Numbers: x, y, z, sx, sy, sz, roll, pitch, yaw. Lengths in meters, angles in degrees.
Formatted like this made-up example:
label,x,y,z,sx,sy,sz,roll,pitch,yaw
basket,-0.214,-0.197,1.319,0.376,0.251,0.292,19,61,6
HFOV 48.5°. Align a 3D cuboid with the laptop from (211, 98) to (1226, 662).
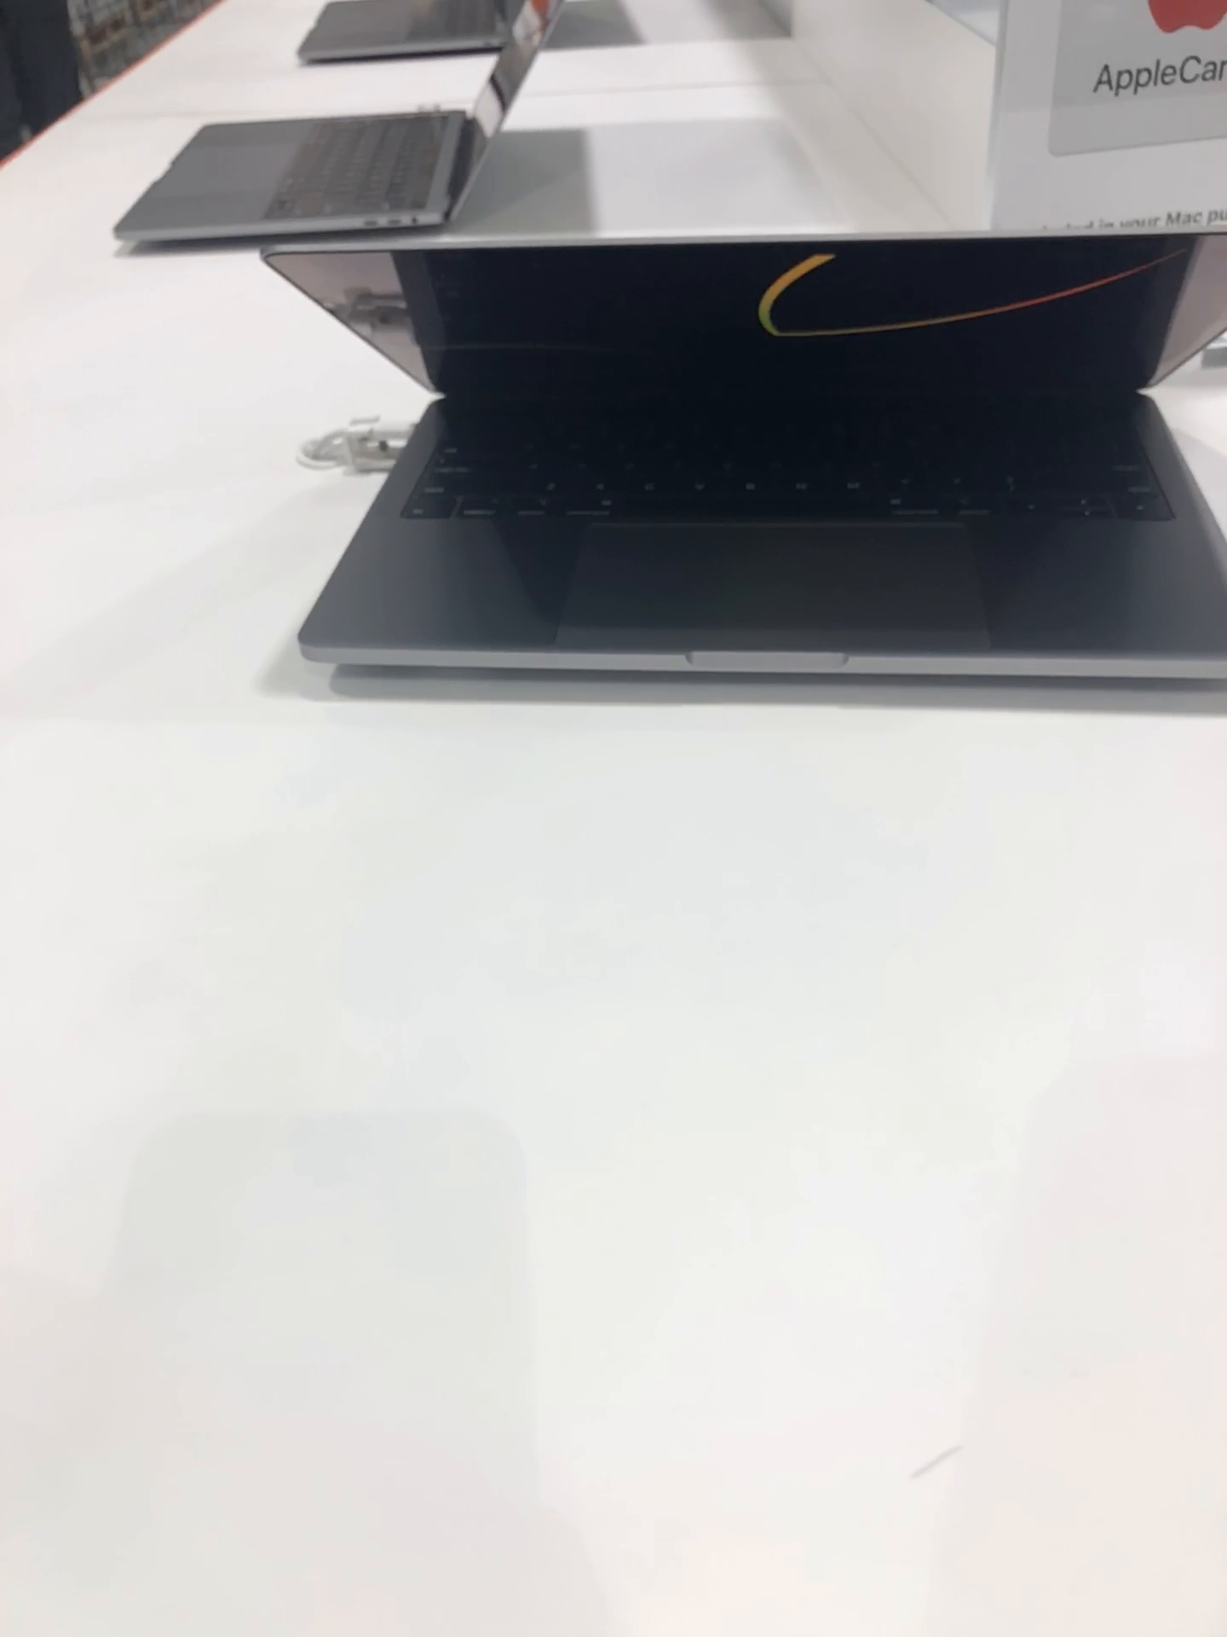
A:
label,x,y,z,sx,sy,sz,roll,pitch,yaw
laptop,0.056,-0.157,0.460,0.297,0.109,0.211,2,38,7
